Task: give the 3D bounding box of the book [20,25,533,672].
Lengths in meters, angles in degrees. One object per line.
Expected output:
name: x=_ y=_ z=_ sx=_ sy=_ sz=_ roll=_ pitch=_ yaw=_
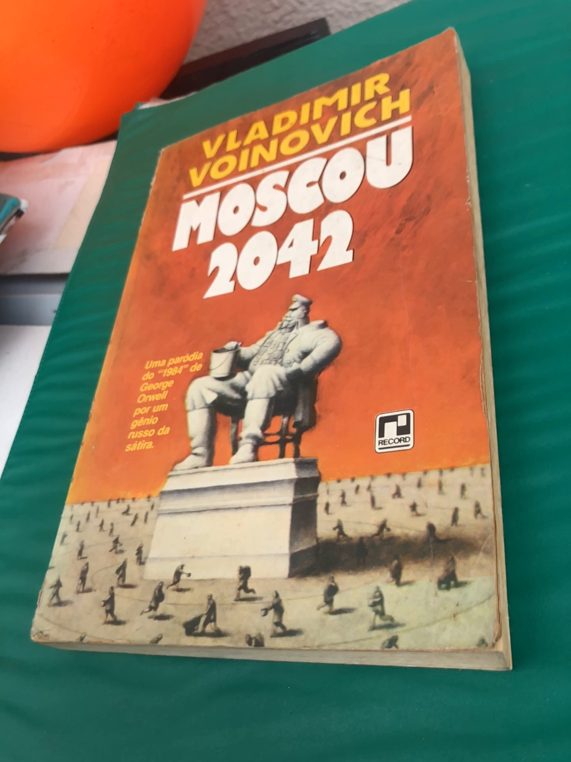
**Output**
book: x=-0.002 y=-0.021 z=0.208 sx=0.132 sy=0.020 sz=0.204 roll=-10 pitch=57 yaw=25
